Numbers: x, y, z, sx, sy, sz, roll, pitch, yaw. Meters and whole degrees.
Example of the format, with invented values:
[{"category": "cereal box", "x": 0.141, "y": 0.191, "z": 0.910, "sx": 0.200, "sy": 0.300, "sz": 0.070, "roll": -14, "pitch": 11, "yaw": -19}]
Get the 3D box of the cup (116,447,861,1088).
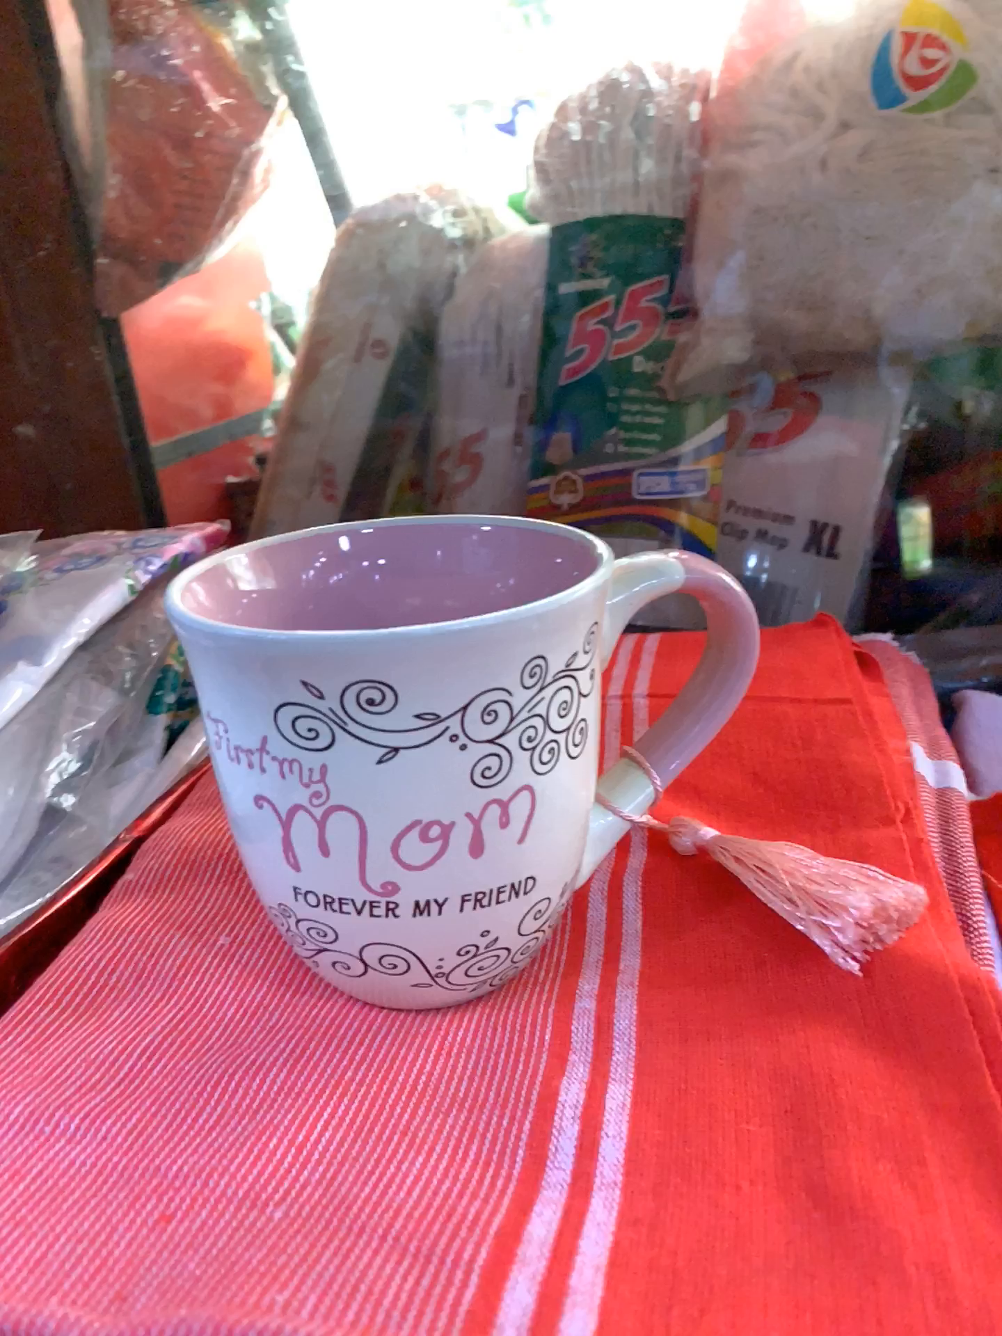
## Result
[{"category": "cup", "x": -0.003, "y": 0.007, "z": 0.222, "sx": 0.125, "sy": 0.075, "sz": 0.086, "roll": -16, "pitch": 24, "yaw": -23}]
